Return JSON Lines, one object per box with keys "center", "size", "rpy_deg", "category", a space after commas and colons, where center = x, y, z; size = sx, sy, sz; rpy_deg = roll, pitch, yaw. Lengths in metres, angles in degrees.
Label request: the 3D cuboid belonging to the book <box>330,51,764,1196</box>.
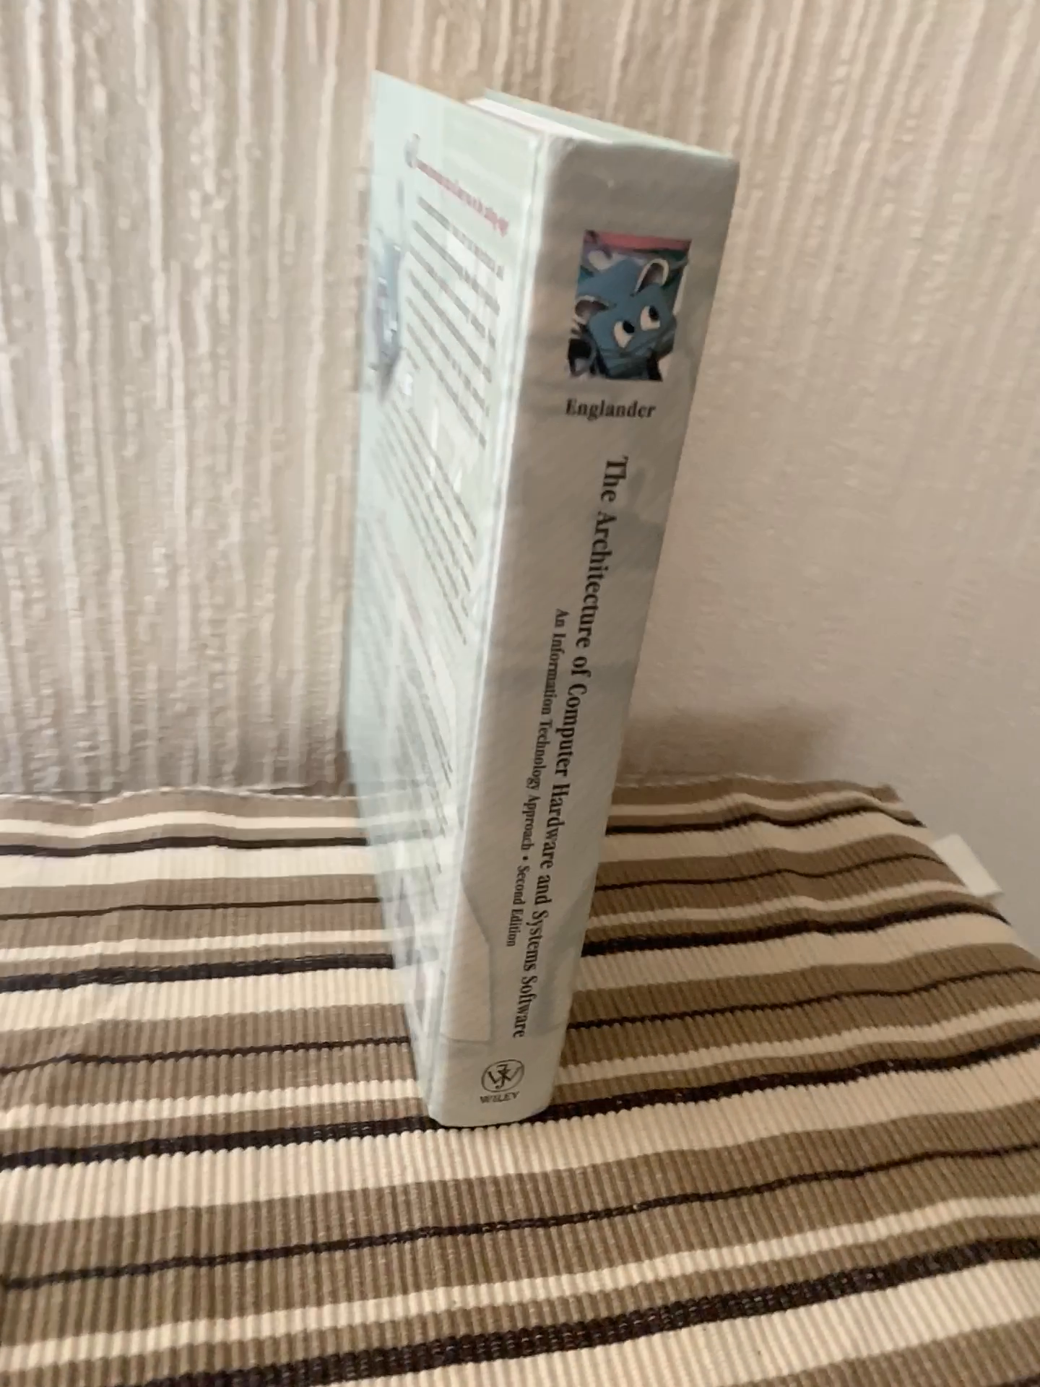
{"center": [-0.022, -0.032, 0.314], "size": [0.040, 0.257, 0.212], "rpy_deg": [-2, 32, -15], "category": "book"}
